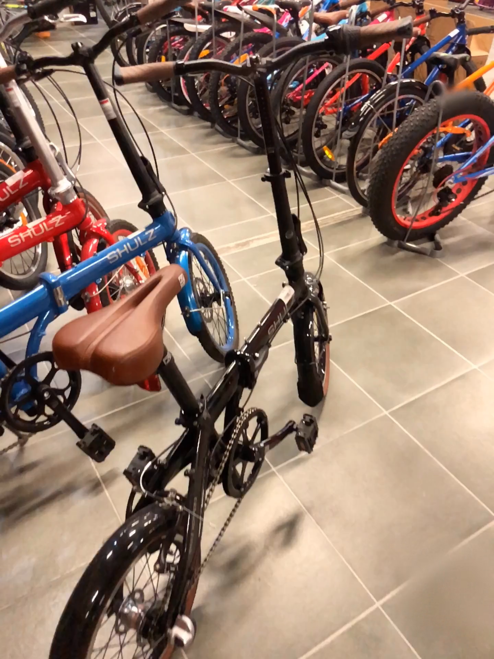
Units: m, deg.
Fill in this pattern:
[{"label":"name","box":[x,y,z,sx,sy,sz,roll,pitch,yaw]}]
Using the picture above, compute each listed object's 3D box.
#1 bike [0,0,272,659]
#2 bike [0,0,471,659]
[{"label":"bike","box":[-0.579,-0.167,1.344,0.568,1.029,1.378,25,41,25]},{"label":"bike","box":[-0.056,-0.009,1.127,0.565,1.057,1.280,17,41,16]}]
